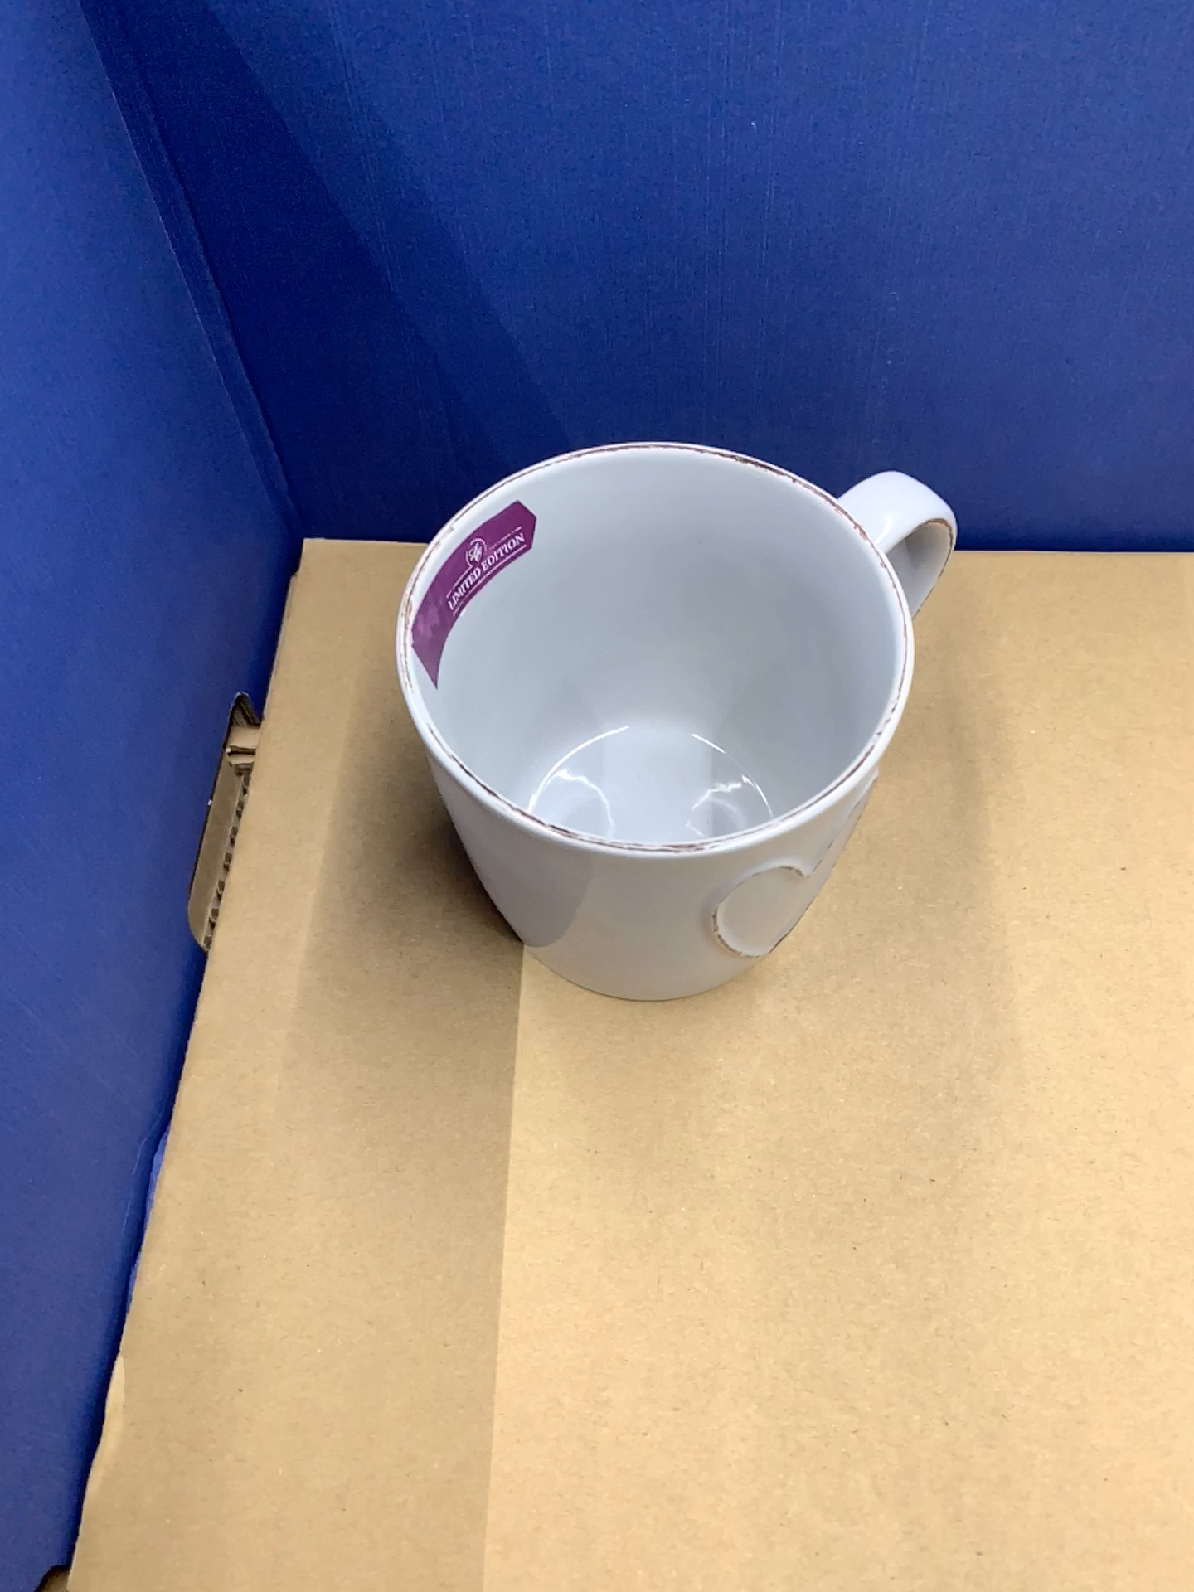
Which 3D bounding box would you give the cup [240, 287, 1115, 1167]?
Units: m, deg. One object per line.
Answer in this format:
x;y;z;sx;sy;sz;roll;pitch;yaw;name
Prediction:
0.018;-0.016;0.246;0.091;0.085;0.125;34;65;23;cup
